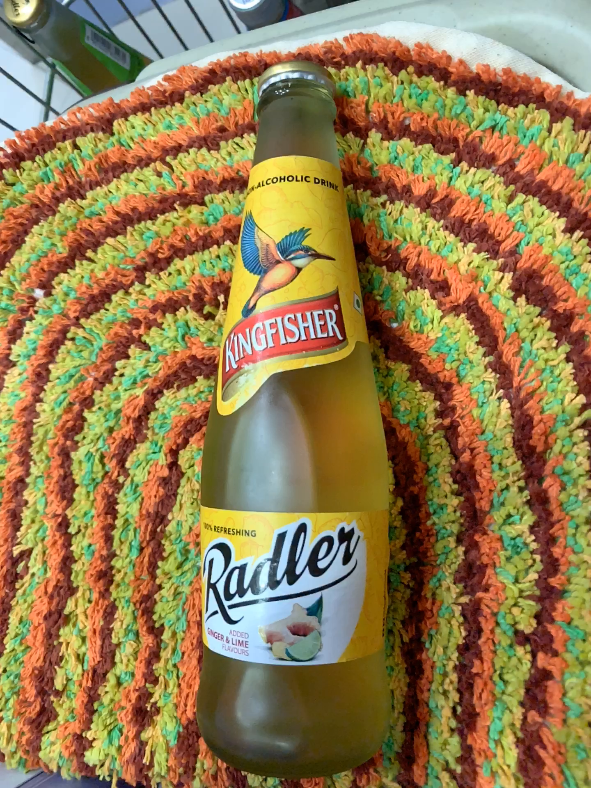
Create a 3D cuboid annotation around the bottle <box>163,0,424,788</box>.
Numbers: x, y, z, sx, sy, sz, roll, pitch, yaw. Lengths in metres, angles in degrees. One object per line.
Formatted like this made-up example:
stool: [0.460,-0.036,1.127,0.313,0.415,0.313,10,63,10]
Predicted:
bottle: [0.005,-0.009,0.195,0.060,0.060,0.220,-2,83,22]
